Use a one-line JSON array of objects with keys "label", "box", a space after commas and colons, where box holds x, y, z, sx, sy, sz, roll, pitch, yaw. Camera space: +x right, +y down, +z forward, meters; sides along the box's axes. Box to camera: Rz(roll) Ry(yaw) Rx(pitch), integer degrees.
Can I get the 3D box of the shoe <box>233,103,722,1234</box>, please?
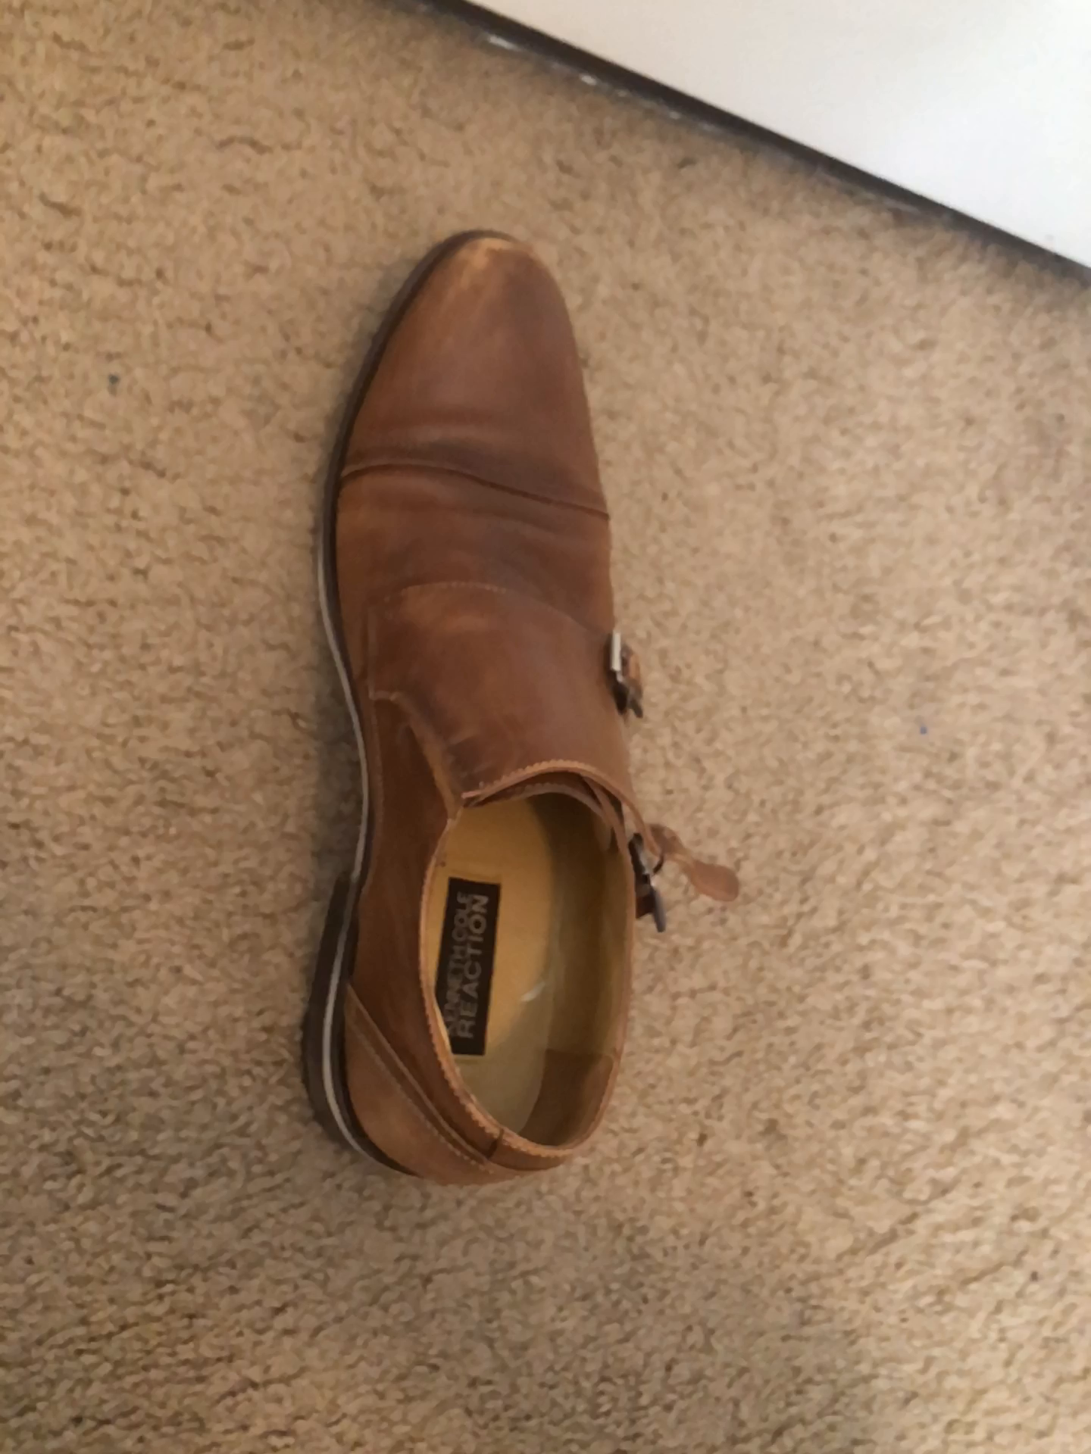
[{"label": "shoe", "box": [-0.021, -0.013, 0.372, 0.100, 0.107, 0.286, 7, 80, -28]}]
